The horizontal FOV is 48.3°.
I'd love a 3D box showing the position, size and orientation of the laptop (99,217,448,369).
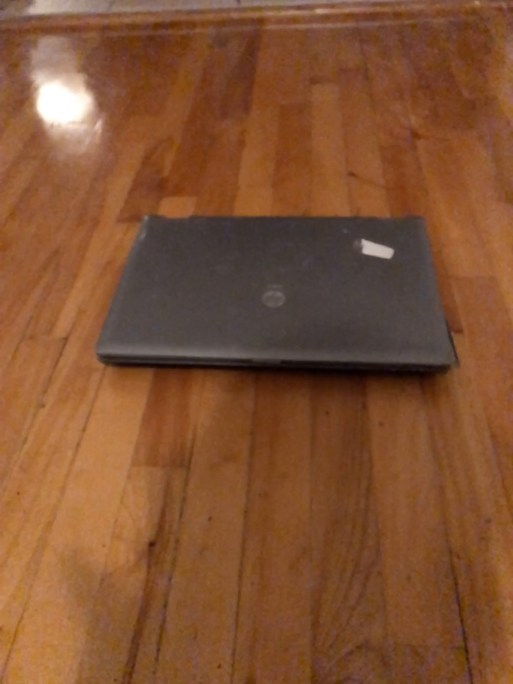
[{"bbox_3d":[0.023,-0.070,0.677,0.362,0.010,0.242,1,48,5],"label":"laptop"}]
